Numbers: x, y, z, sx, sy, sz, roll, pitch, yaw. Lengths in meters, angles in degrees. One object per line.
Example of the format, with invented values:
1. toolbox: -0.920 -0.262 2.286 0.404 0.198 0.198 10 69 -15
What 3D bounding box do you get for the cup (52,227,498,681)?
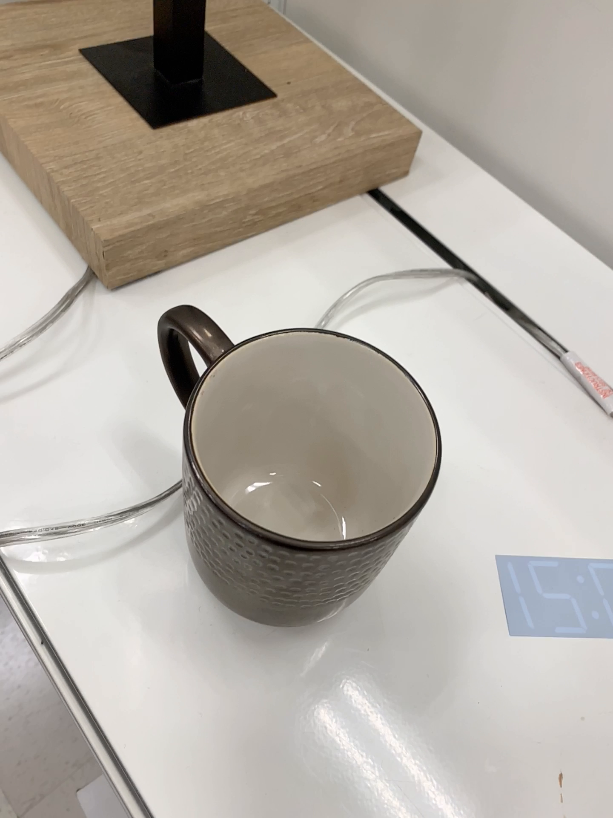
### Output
1. cup: -0.017 0.017 0.262 0.095 0.093 0.131 -35 69 -28
